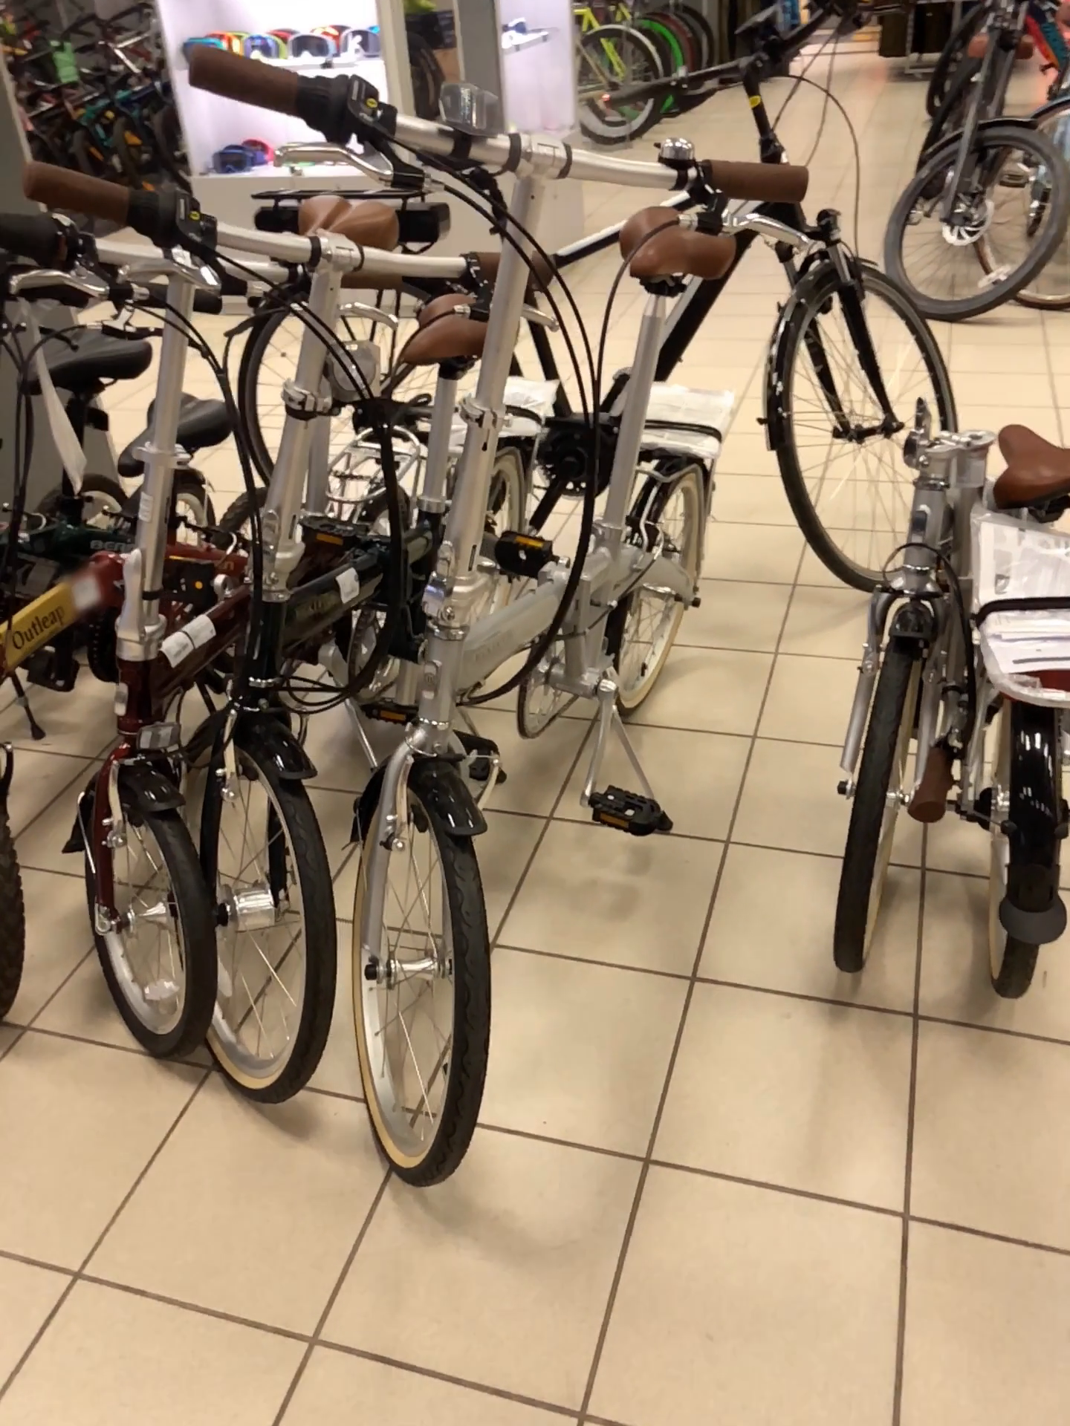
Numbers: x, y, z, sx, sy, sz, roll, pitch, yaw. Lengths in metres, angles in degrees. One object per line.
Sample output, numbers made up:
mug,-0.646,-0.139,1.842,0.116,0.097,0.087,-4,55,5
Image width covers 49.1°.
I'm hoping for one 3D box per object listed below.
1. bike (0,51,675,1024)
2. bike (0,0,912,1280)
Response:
bike,-0.163,-0.344,1.812,0.556,1.036,1.146,4,34,14
bike,0.120,-0.276,1.538,0.553,1.152,1.366,6,33,17
